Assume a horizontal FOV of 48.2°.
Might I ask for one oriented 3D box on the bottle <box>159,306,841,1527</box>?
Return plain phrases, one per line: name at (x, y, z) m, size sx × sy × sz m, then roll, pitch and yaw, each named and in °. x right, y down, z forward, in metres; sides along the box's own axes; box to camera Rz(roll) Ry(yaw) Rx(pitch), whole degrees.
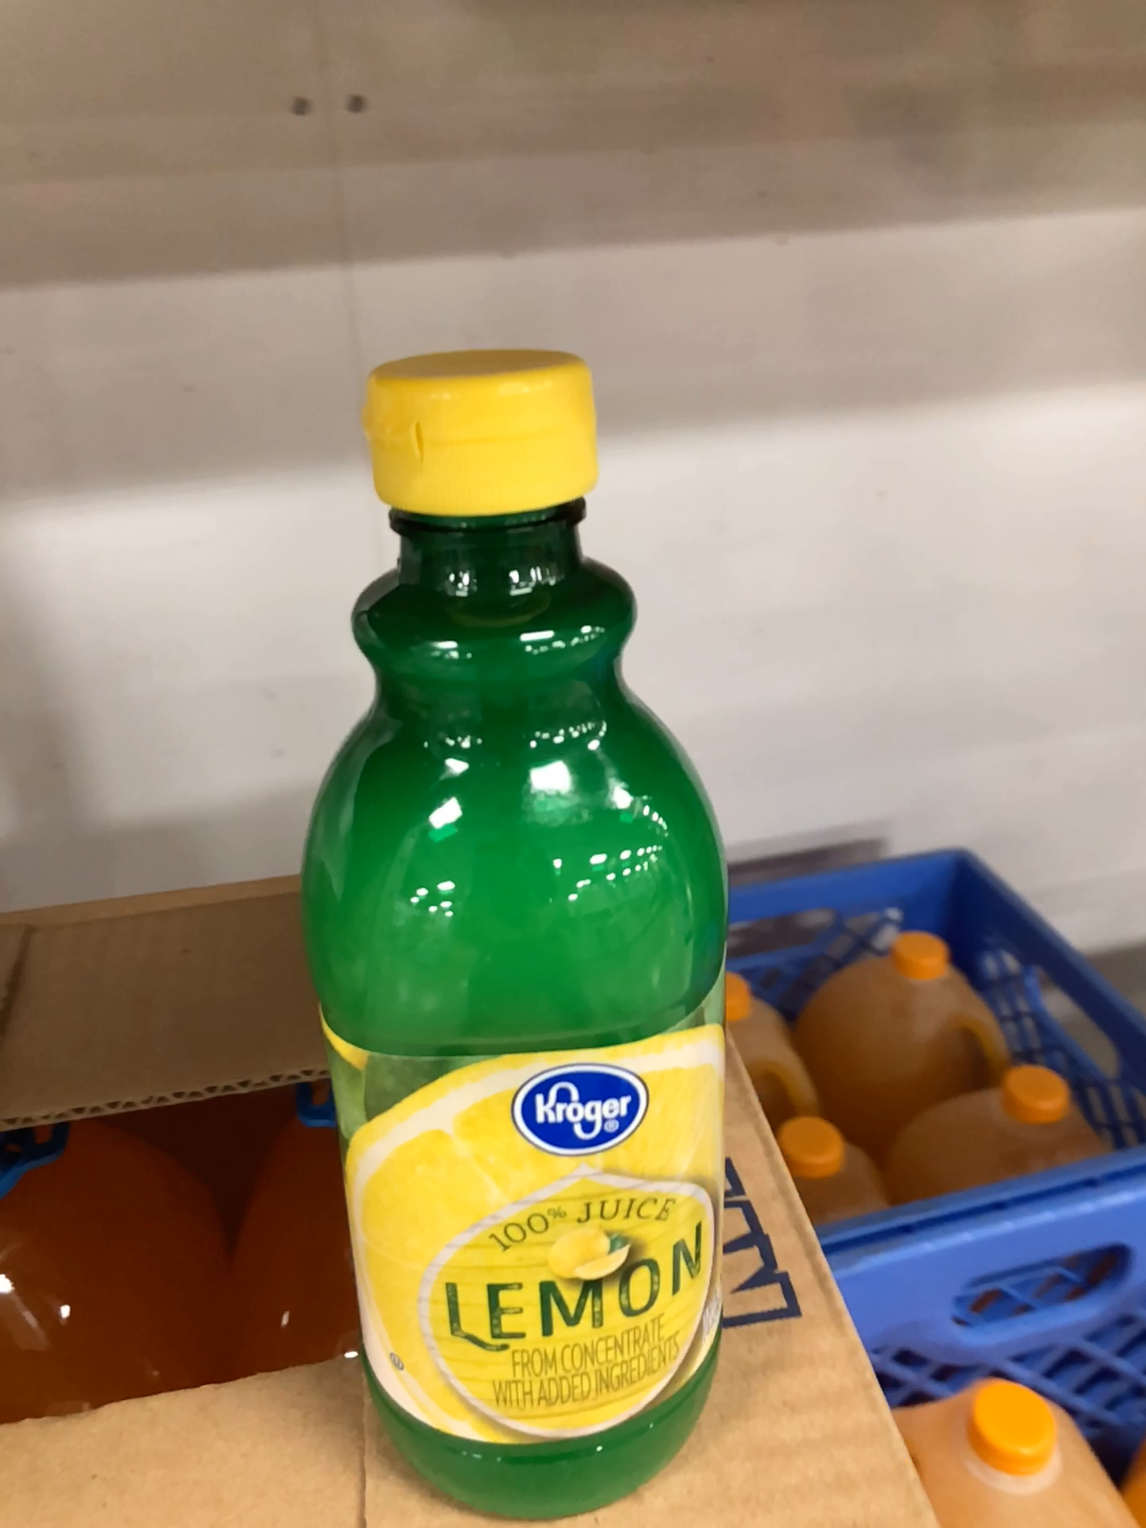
bottle at (-0.010, 0.030, 0.205) m, size 0.070 × 0.184 × 0.070 m, roll -3°, pitch 25°, yaw 1°
